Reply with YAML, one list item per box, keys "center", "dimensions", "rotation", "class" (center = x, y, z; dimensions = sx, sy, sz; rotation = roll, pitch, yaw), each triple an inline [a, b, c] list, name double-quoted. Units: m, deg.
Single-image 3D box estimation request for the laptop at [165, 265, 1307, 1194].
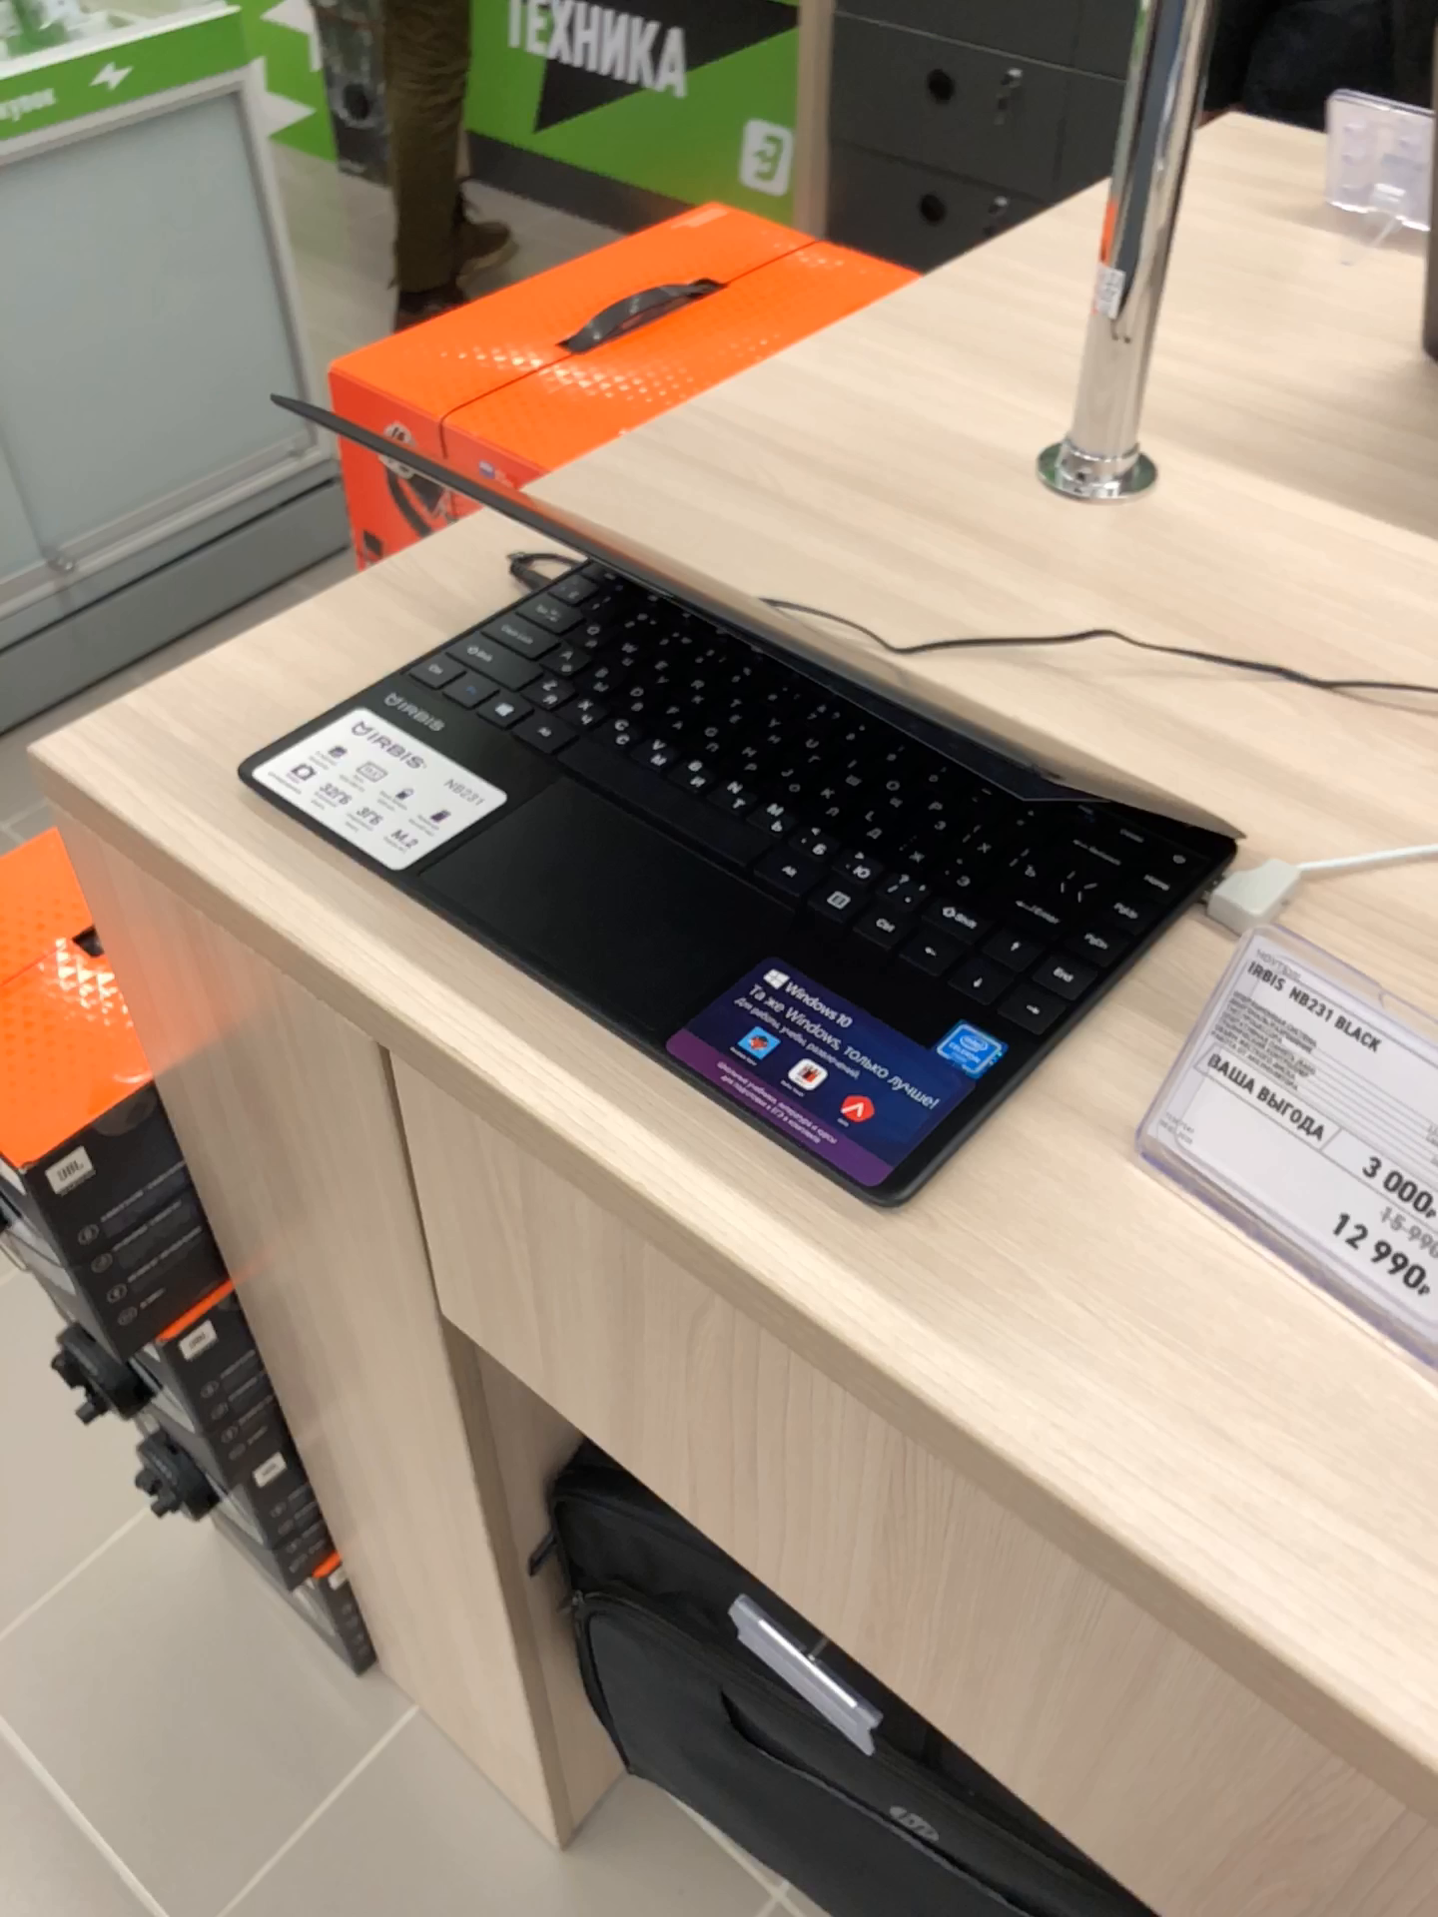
- center: [-0.001, -0.102, 0.543]
  dimensions: [0.299, 0.132, 0.204]
  rotation: [32, 53, 28]
  class: "laptop"
